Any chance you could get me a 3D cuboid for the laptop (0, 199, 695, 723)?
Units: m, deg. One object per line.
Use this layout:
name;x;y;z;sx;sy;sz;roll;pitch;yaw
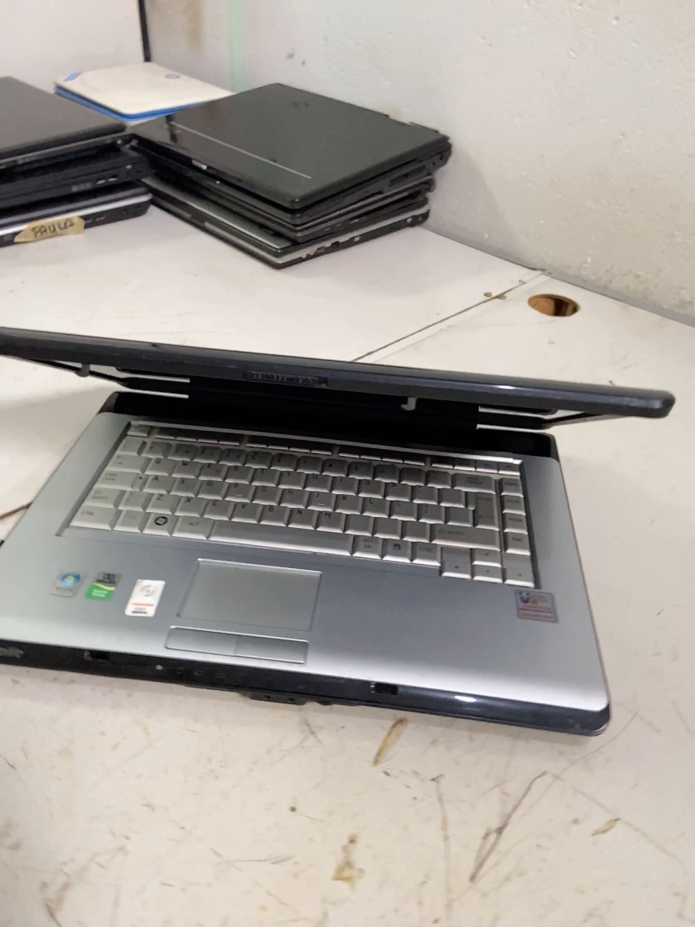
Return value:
laptop;-0.027;-0.026;0.421;0.345;0.152;0.259;6;38;4
